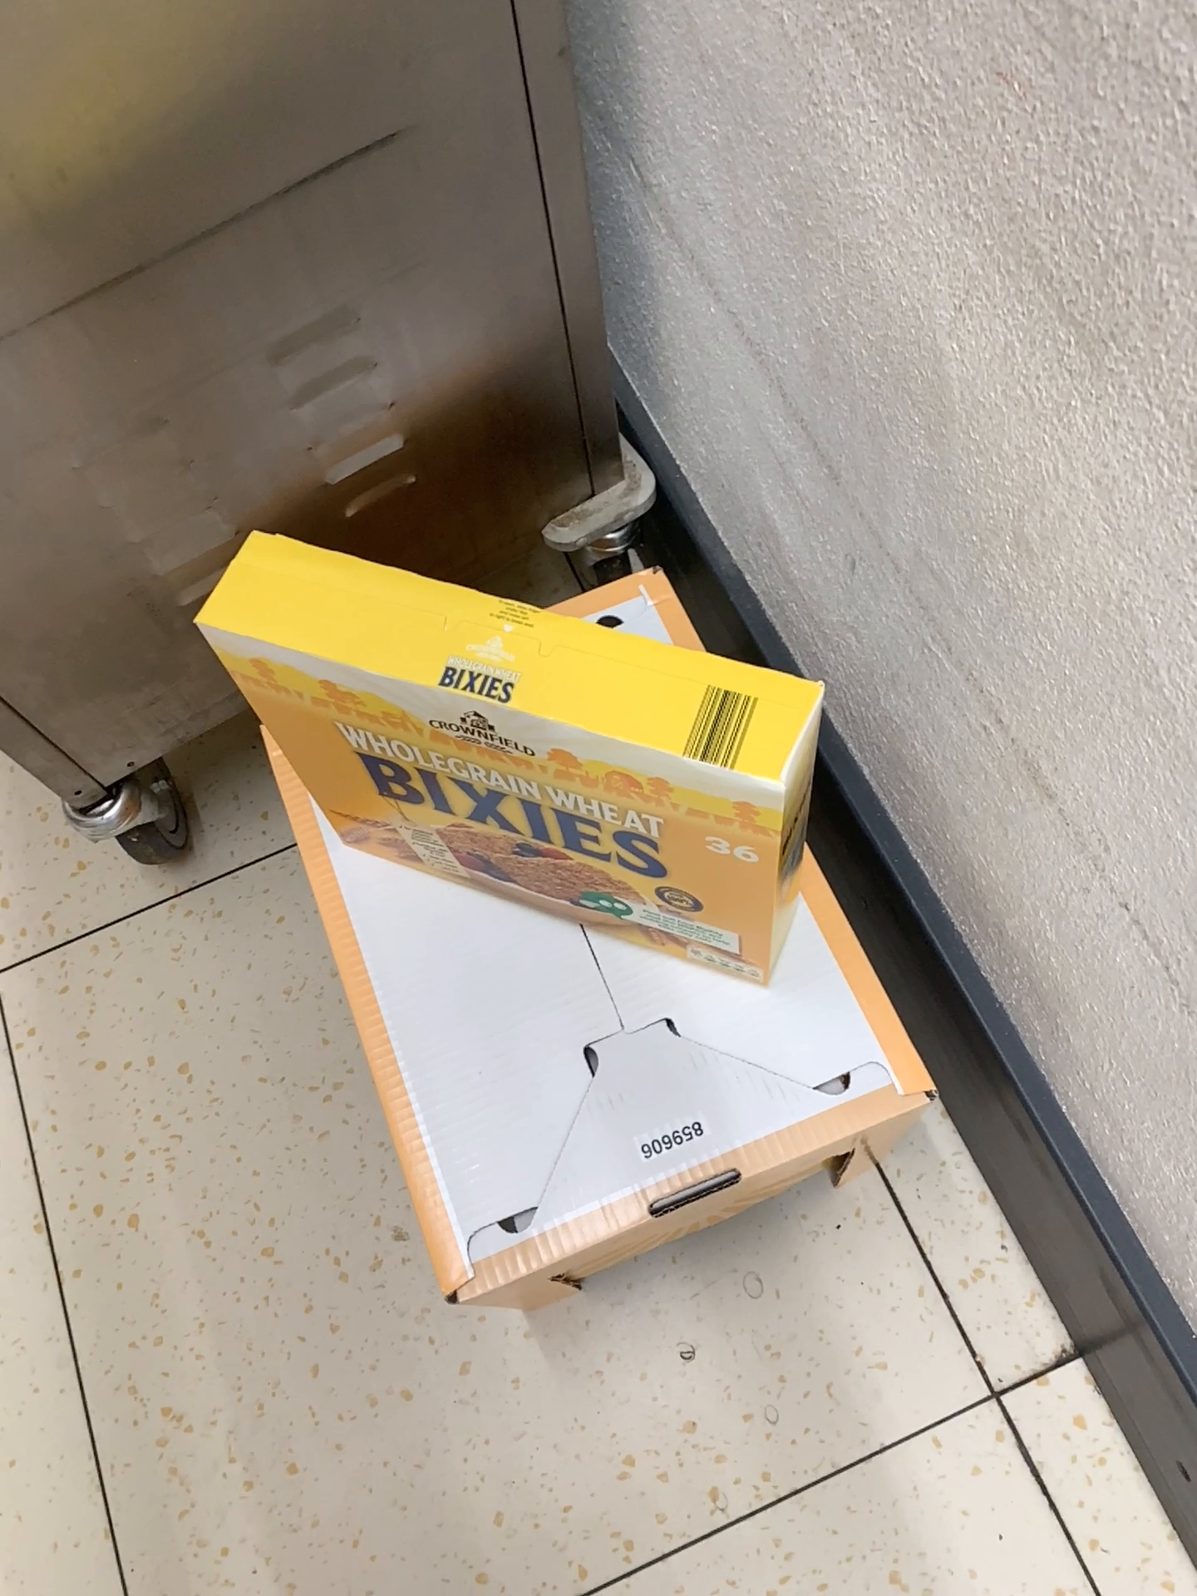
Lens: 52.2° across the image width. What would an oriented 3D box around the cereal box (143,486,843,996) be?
[{"bbox_3d":[-0.035,-0.013,0.633,0.290,0.279,0.070,17,69,14],"label":"cereal box"}]
